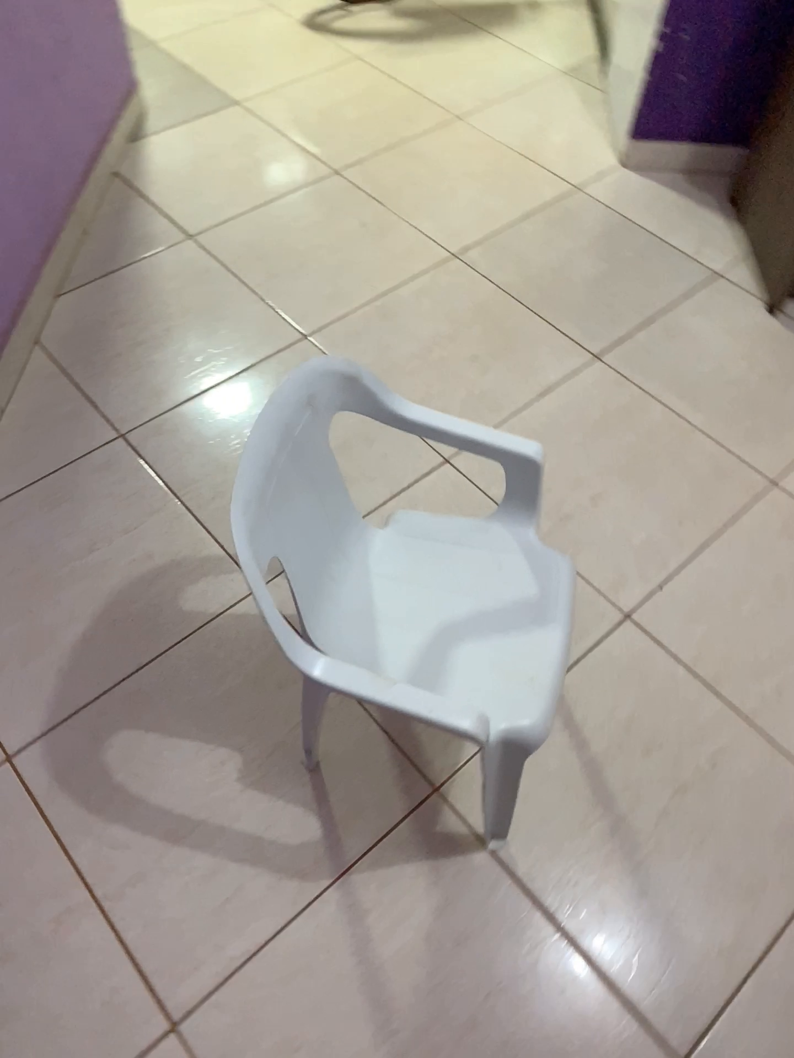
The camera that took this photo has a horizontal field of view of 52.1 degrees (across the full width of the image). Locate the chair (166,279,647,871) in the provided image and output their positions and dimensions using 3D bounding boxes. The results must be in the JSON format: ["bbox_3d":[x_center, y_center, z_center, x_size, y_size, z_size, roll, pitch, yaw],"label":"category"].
[{"bbox_3d":[0.025,0.095,1.001,0.360,0.595,0.403,14,55,7],"label":"chair"}]
